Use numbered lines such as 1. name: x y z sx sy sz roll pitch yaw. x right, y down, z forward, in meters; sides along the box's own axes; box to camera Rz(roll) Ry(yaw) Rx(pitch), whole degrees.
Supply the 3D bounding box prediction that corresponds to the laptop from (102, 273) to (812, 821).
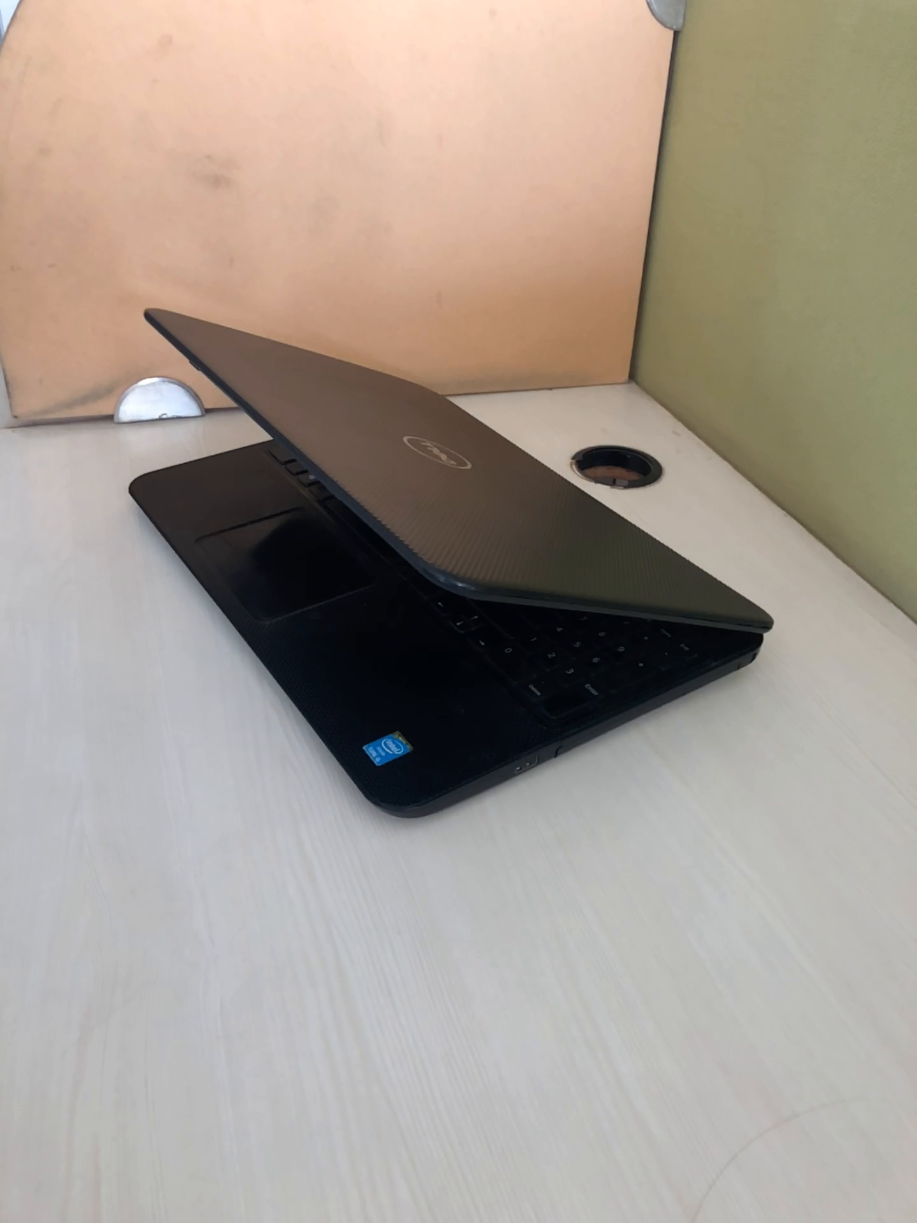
1. laptop: -0.027 -0.079 0.609 0.247 0.106 0.368 -20 41 -27
